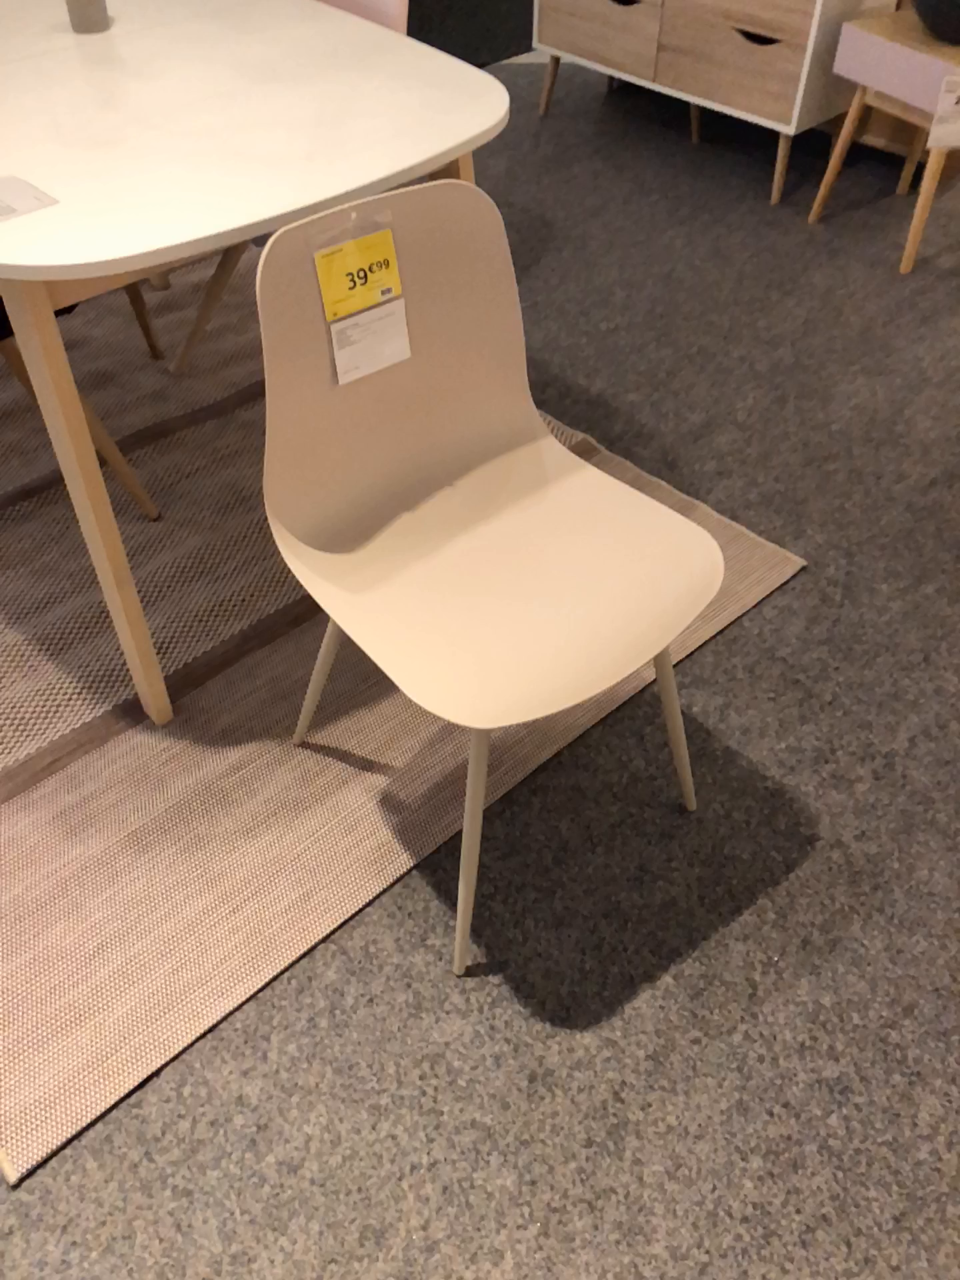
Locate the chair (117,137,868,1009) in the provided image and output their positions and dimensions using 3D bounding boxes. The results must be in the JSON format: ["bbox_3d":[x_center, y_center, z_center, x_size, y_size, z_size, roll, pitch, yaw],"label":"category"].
[{"bbox_3d":[0.002,-0.071,1.259,0.502,0.765,0.501,-31,53,-28],"label":"chair"}]
